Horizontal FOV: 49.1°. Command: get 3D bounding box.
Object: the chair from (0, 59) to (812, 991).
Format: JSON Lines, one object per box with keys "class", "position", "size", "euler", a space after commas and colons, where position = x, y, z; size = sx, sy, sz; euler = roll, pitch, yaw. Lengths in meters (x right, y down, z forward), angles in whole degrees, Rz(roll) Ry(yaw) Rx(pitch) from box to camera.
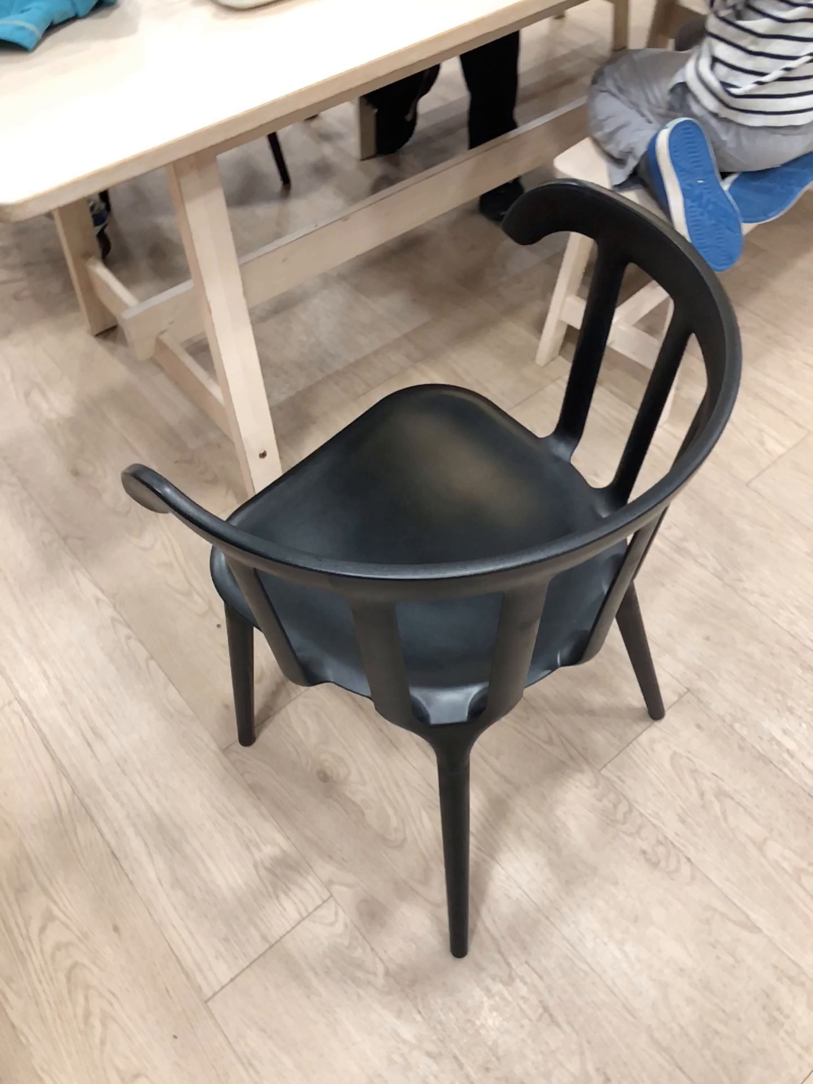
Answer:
{"class": "chair", "position": [0.051, 0.006, 0.967], "size": [0.532, 0.686, 0.531], "euler": [37, 62, 25]}
